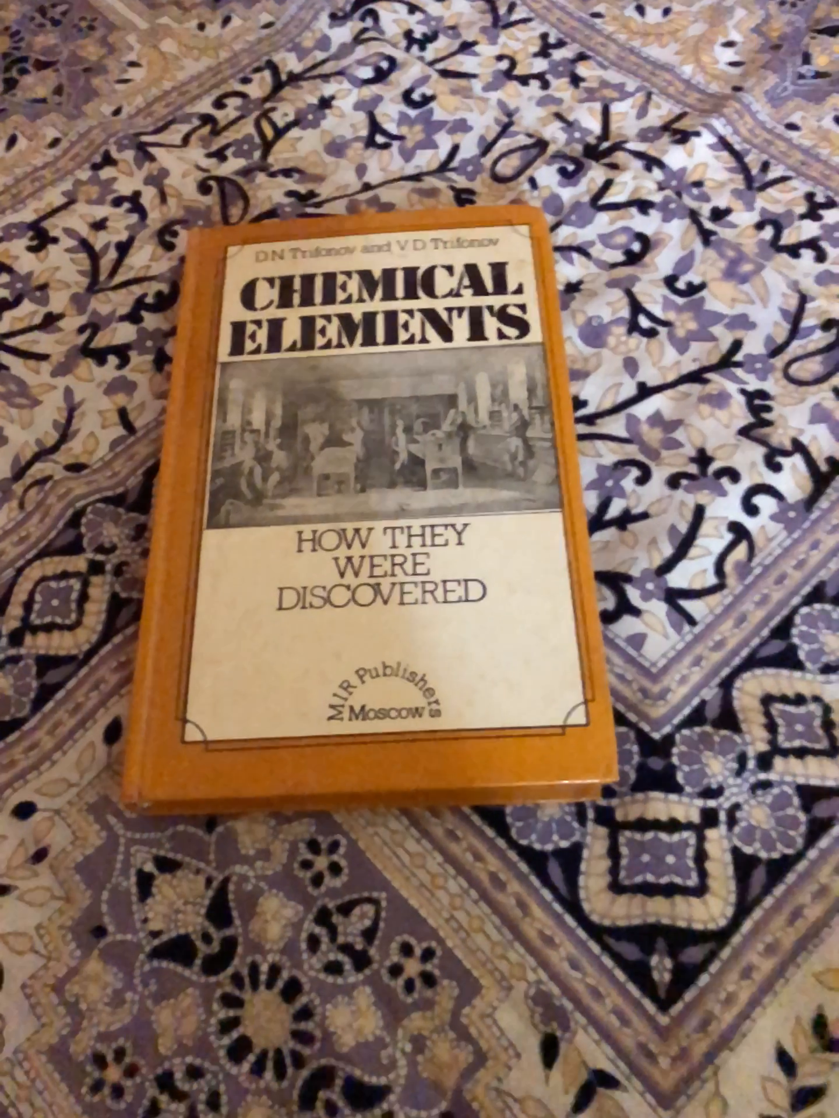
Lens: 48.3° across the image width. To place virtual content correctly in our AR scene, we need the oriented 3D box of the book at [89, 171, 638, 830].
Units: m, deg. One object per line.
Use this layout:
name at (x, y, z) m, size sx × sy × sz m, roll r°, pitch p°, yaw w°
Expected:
book at (-0.018, -0.031, 0.302) m, size 0.140 × 0.030 × 0.221 m, roll -3°, pitch 63°, yaw 2°
